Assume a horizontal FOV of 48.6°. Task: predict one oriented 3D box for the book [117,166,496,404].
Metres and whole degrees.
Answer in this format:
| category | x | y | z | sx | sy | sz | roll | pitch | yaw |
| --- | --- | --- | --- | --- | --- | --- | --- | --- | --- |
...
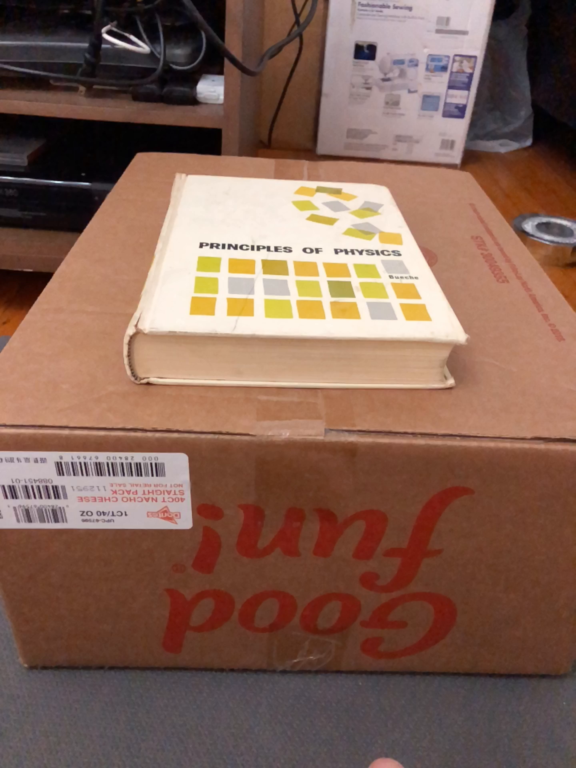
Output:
| category | x | y | z | sx | sy | sz | roll | pitch | yaw |
| --- | --- | --- | --- | --- | --- | --- | --- | --- | --- |
| book | 0.005 | -0.081 | 0.416 | 0.180 | 0.040 | 0.252 | 1 | 35 | -3 |
